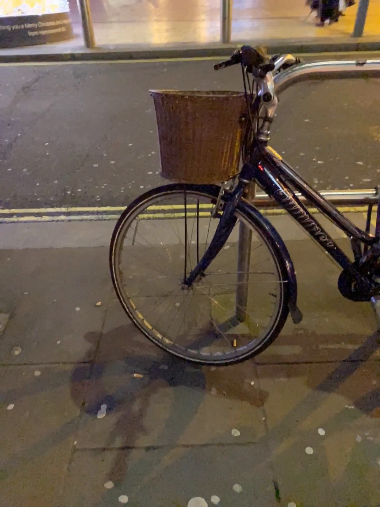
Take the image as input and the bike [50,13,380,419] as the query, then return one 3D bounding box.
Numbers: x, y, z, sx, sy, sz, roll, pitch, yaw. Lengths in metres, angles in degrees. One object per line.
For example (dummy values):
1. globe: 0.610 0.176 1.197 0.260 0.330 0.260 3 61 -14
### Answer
1. bike: 0.581 -0.102 1.311 1.709 1.063 0.663 1 36 7
